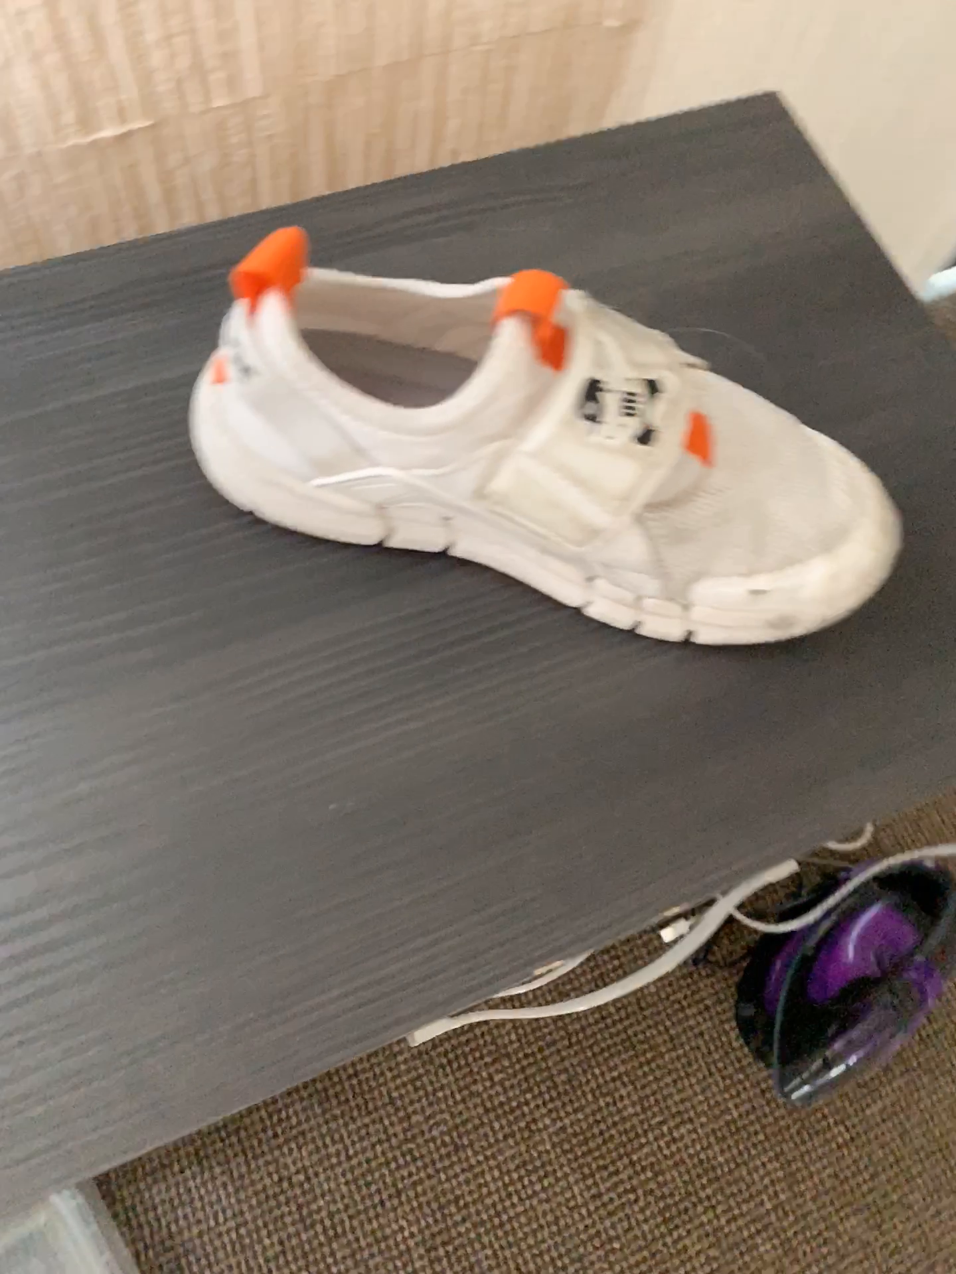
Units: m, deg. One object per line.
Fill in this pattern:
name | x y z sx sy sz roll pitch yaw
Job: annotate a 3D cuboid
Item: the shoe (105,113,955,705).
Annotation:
shoe | 0.020 -0.067 0.303 0.222 0.070 0.100 17 67 0
